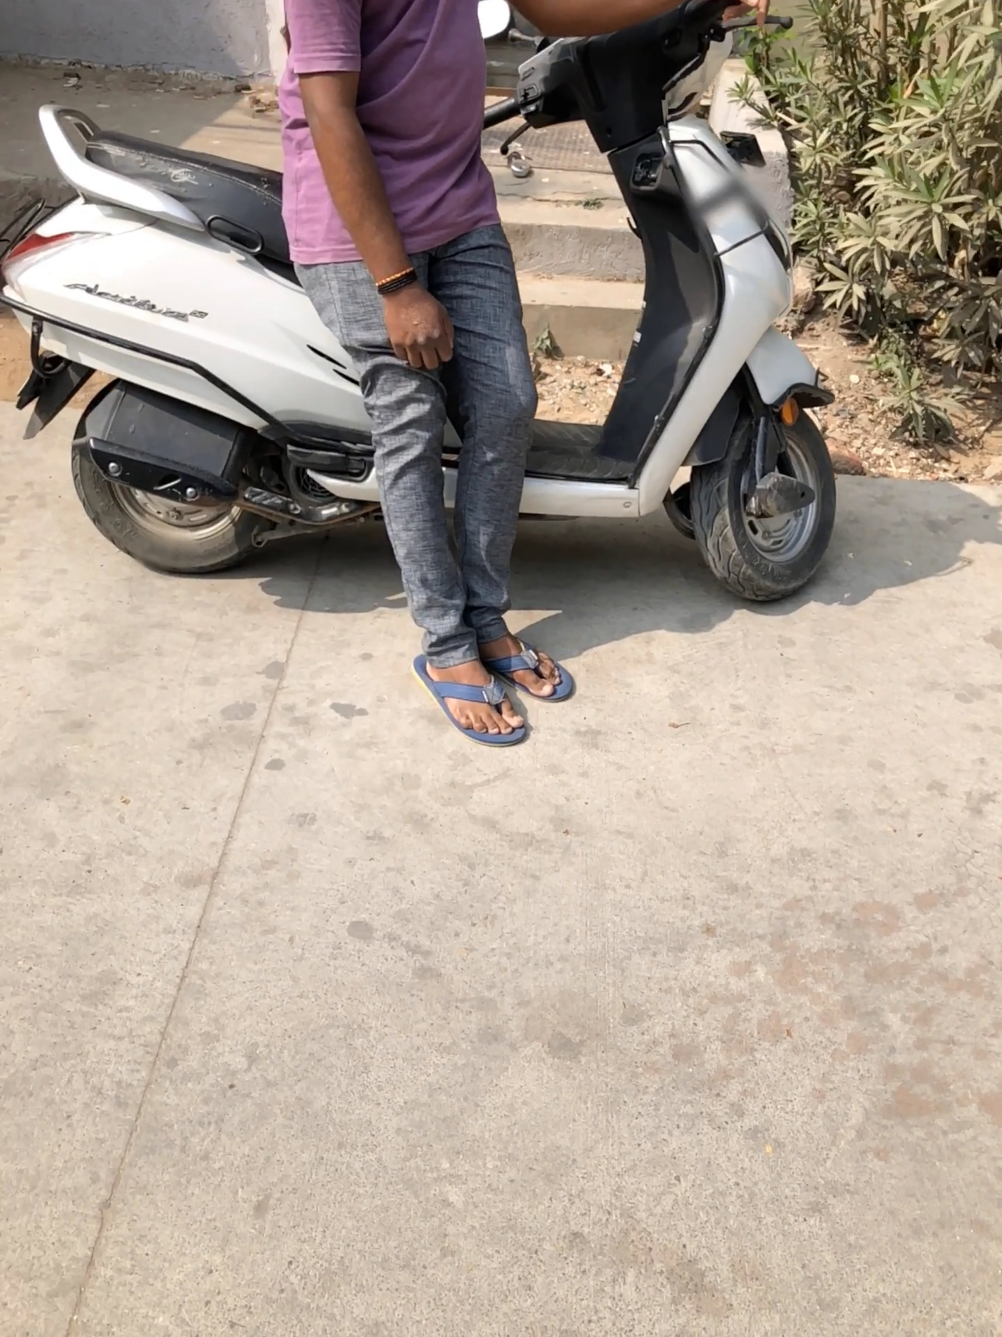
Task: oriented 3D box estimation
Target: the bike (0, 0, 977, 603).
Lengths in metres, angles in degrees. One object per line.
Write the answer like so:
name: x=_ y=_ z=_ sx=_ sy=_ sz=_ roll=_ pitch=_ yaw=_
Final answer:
bike: x=-0.060 y=-0.758 z=2.152 sx=1.521 sy=1.007 sz=0.651 roll=-3 pitch=39 yaw=-7
